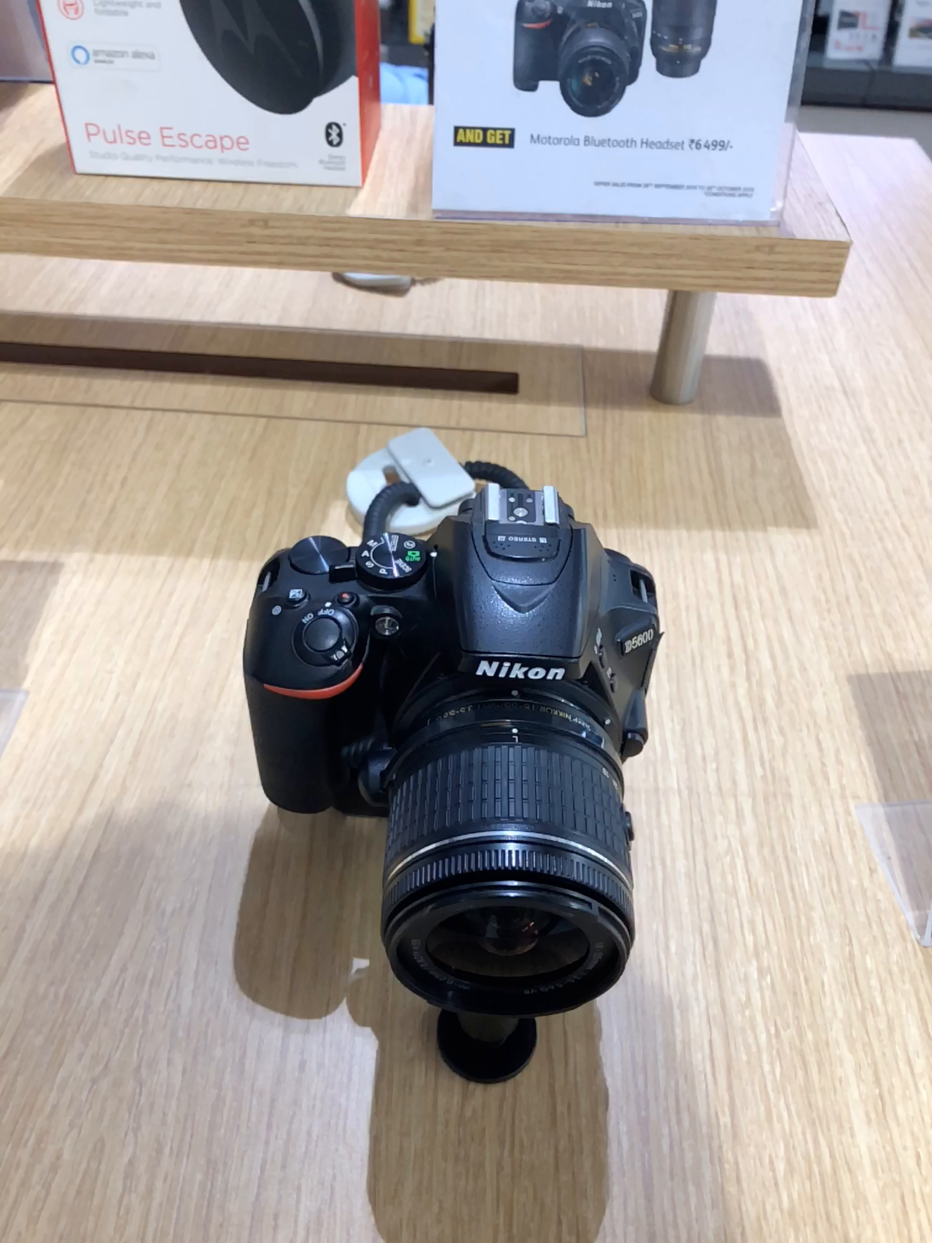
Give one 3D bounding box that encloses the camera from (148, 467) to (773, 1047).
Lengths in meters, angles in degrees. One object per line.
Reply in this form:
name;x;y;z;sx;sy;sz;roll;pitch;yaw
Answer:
camera;-0.001;0.029;0.270;0.120;0.070;0.131;2;43;-1
